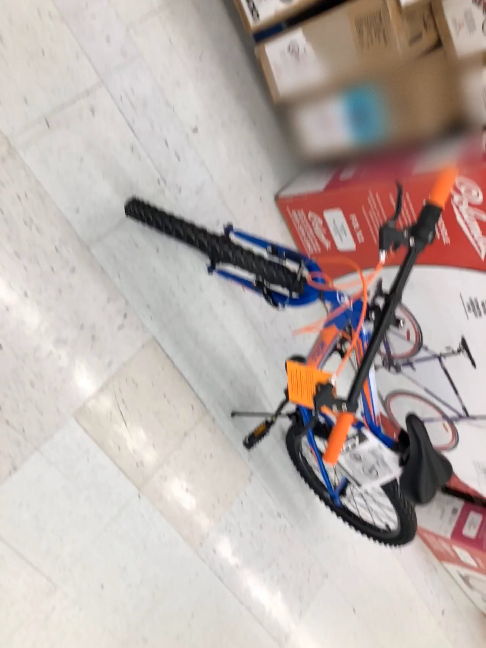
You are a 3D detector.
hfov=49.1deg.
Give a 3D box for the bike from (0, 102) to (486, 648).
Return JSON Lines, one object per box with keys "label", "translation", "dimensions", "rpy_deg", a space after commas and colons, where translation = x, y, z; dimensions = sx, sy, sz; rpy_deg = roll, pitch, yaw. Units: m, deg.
{"label": "bike", "translation": [0.124, 0.232, 1.423], "dimensions": [0.586, 0.869, 1.317], "rpy_deg": [-48, 116, -28]}
